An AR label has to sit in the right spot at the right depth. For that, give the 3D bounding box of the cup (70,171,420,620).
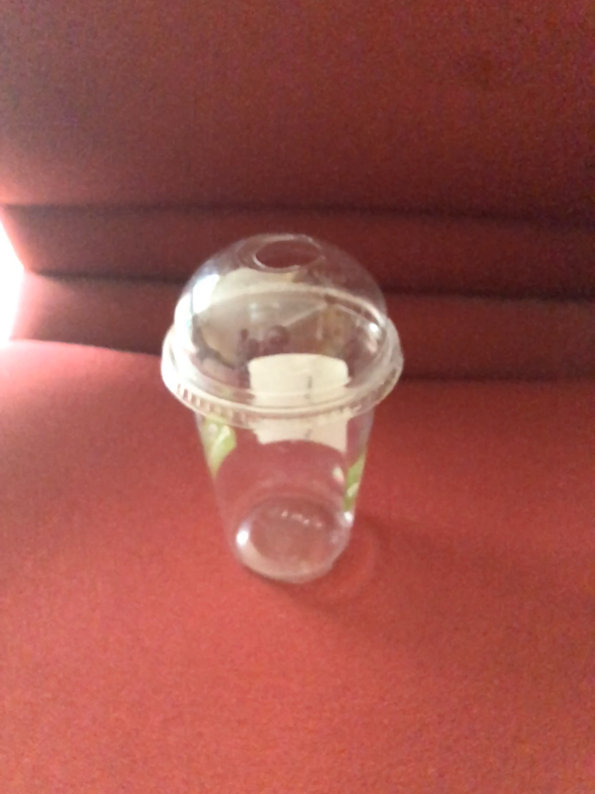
[{"bbox_3d":[-0.009,0.000,0.275,0.100,0.150,0.090,5,38,9],"label":"cup"}]
